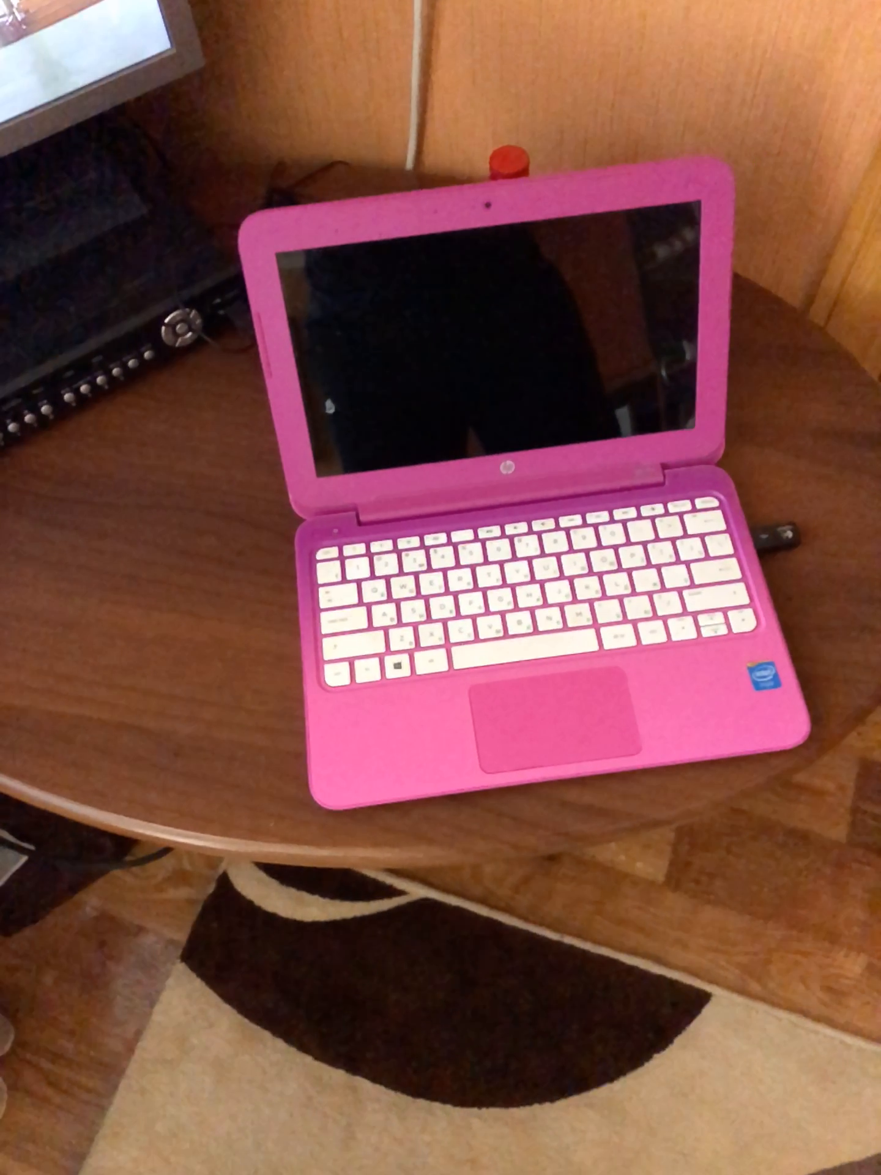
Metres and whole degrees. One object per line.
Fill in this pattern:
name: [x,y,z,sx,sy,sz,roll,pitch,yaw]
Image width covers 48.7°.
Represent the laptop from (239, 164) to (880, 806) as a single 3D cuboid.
laptop: [0.047,-0.060,0.547,0.279,0.150,0.296,-8,61,-1]
